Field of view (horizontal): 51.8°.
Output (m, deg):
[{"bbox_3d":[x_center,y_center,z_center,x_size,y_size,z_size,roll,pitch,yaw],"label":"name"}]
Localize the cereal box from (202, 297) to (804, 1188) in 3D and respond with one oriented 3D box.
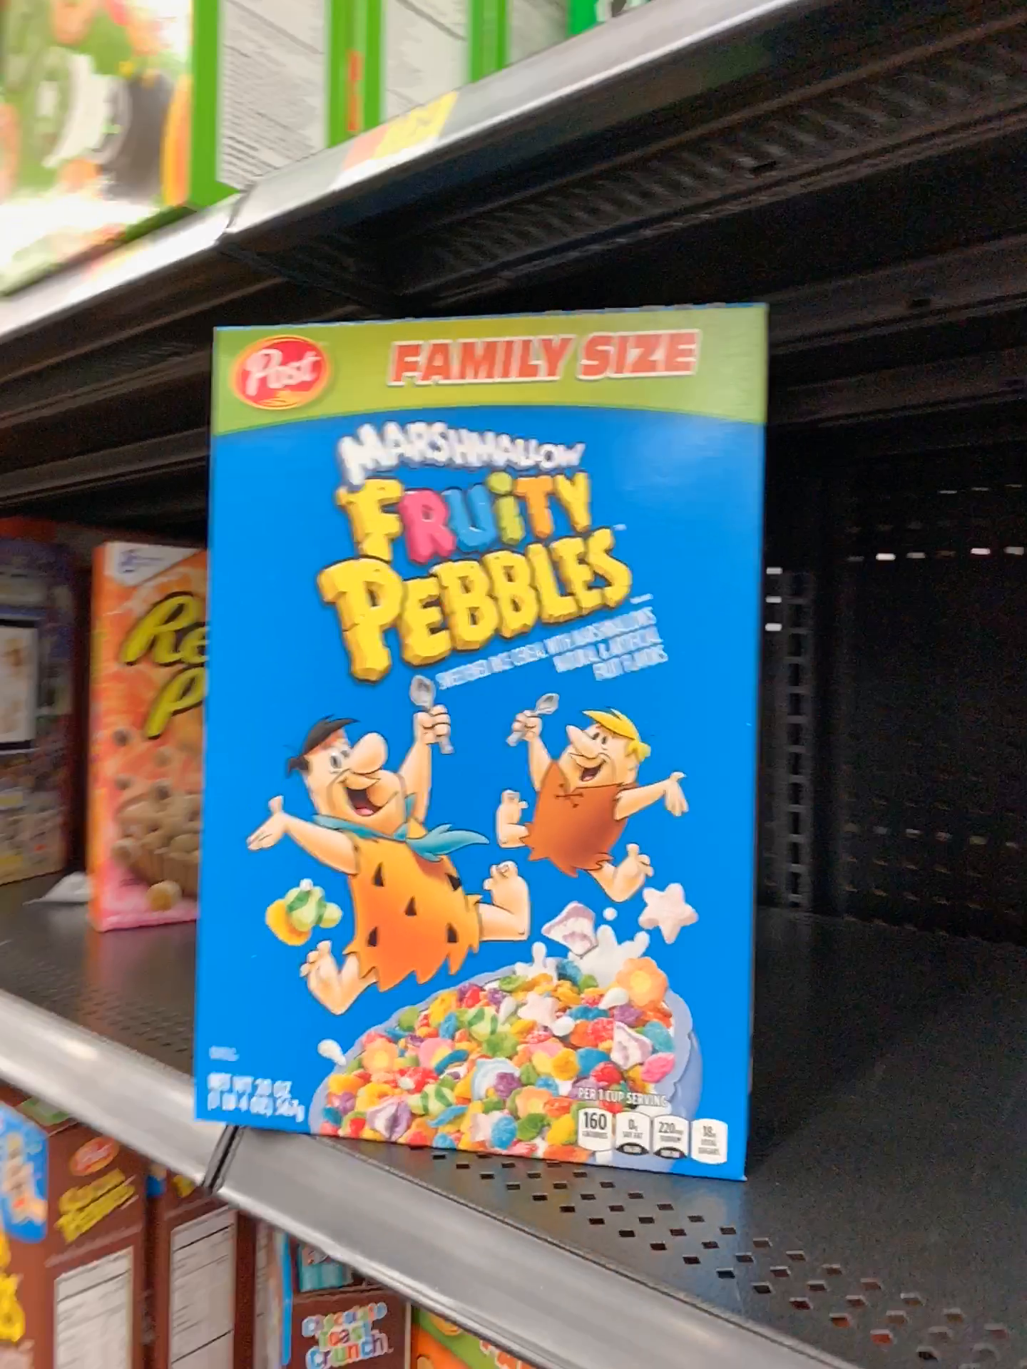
[{"bbox_3d":[-0.004,0.017,0.447,0.230,0.330,0.070,2,0,11],"label":"cereal box"}]
